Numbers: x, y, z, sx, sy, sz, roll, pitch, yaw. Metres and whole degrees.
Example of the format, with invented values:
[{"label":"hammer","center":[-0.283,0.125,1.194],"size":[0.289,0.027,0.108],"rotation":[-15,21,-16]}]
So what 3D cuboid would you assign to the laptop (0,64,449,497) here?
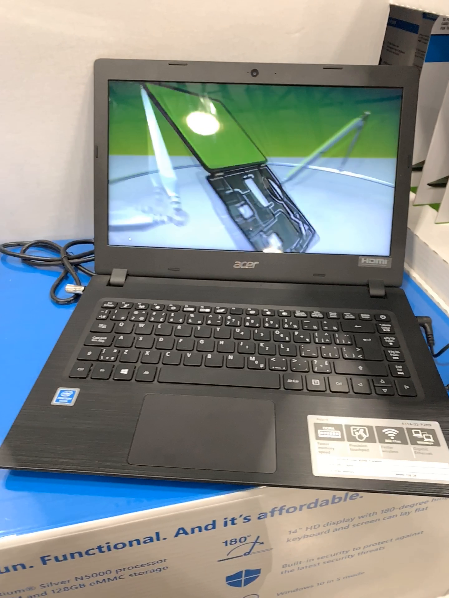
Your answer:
[{"label":"laptop","center":[0.020,-0.055,0.376],"size":[0.318,0.186,0.329],"rotation":[3,36,3]}]
